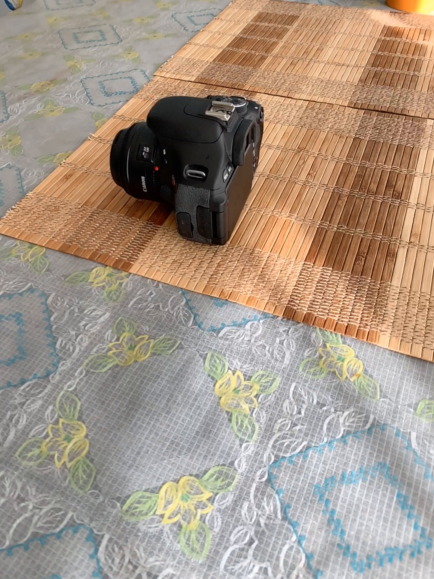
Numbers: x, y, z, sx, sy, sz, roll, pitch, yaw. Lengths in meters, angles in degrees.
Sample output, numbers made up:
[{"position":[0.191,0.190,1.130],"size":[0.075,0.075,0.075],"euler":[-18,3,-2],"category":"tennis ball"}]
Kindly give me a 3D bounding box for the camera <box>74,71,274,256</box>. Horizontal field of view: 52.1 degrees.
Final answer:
[{"position":[-0.028,-0.109,0.377],"size":[0.125,0.092,0.100],"euler":[14,52,14],"category":"camera"}]
